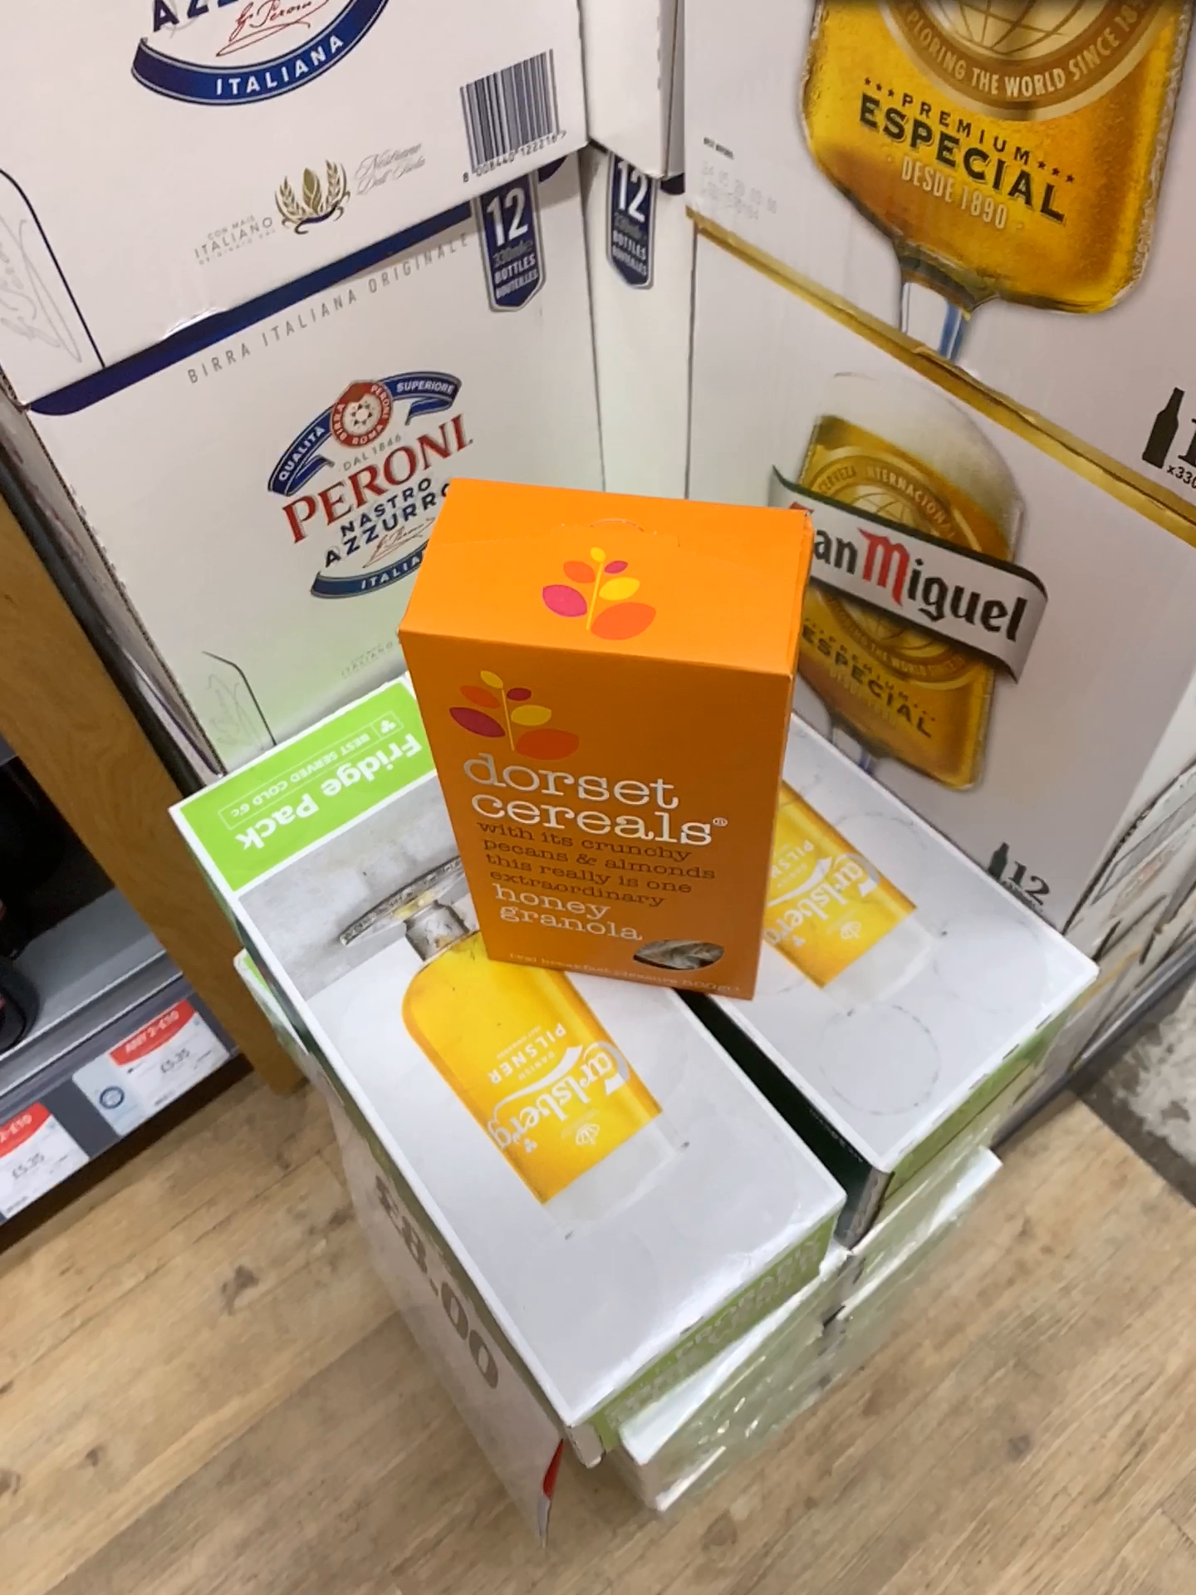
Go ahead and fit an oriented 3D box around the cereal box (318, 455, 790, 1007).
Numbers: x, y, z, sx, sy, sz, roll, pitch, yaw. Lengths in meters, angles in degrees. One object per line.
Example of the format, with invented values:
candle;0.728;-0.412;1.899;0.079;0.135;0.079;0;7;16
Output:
cereal box;-0.004;-0.011;0.424;0.120;0.199;0.070;7;56;10
